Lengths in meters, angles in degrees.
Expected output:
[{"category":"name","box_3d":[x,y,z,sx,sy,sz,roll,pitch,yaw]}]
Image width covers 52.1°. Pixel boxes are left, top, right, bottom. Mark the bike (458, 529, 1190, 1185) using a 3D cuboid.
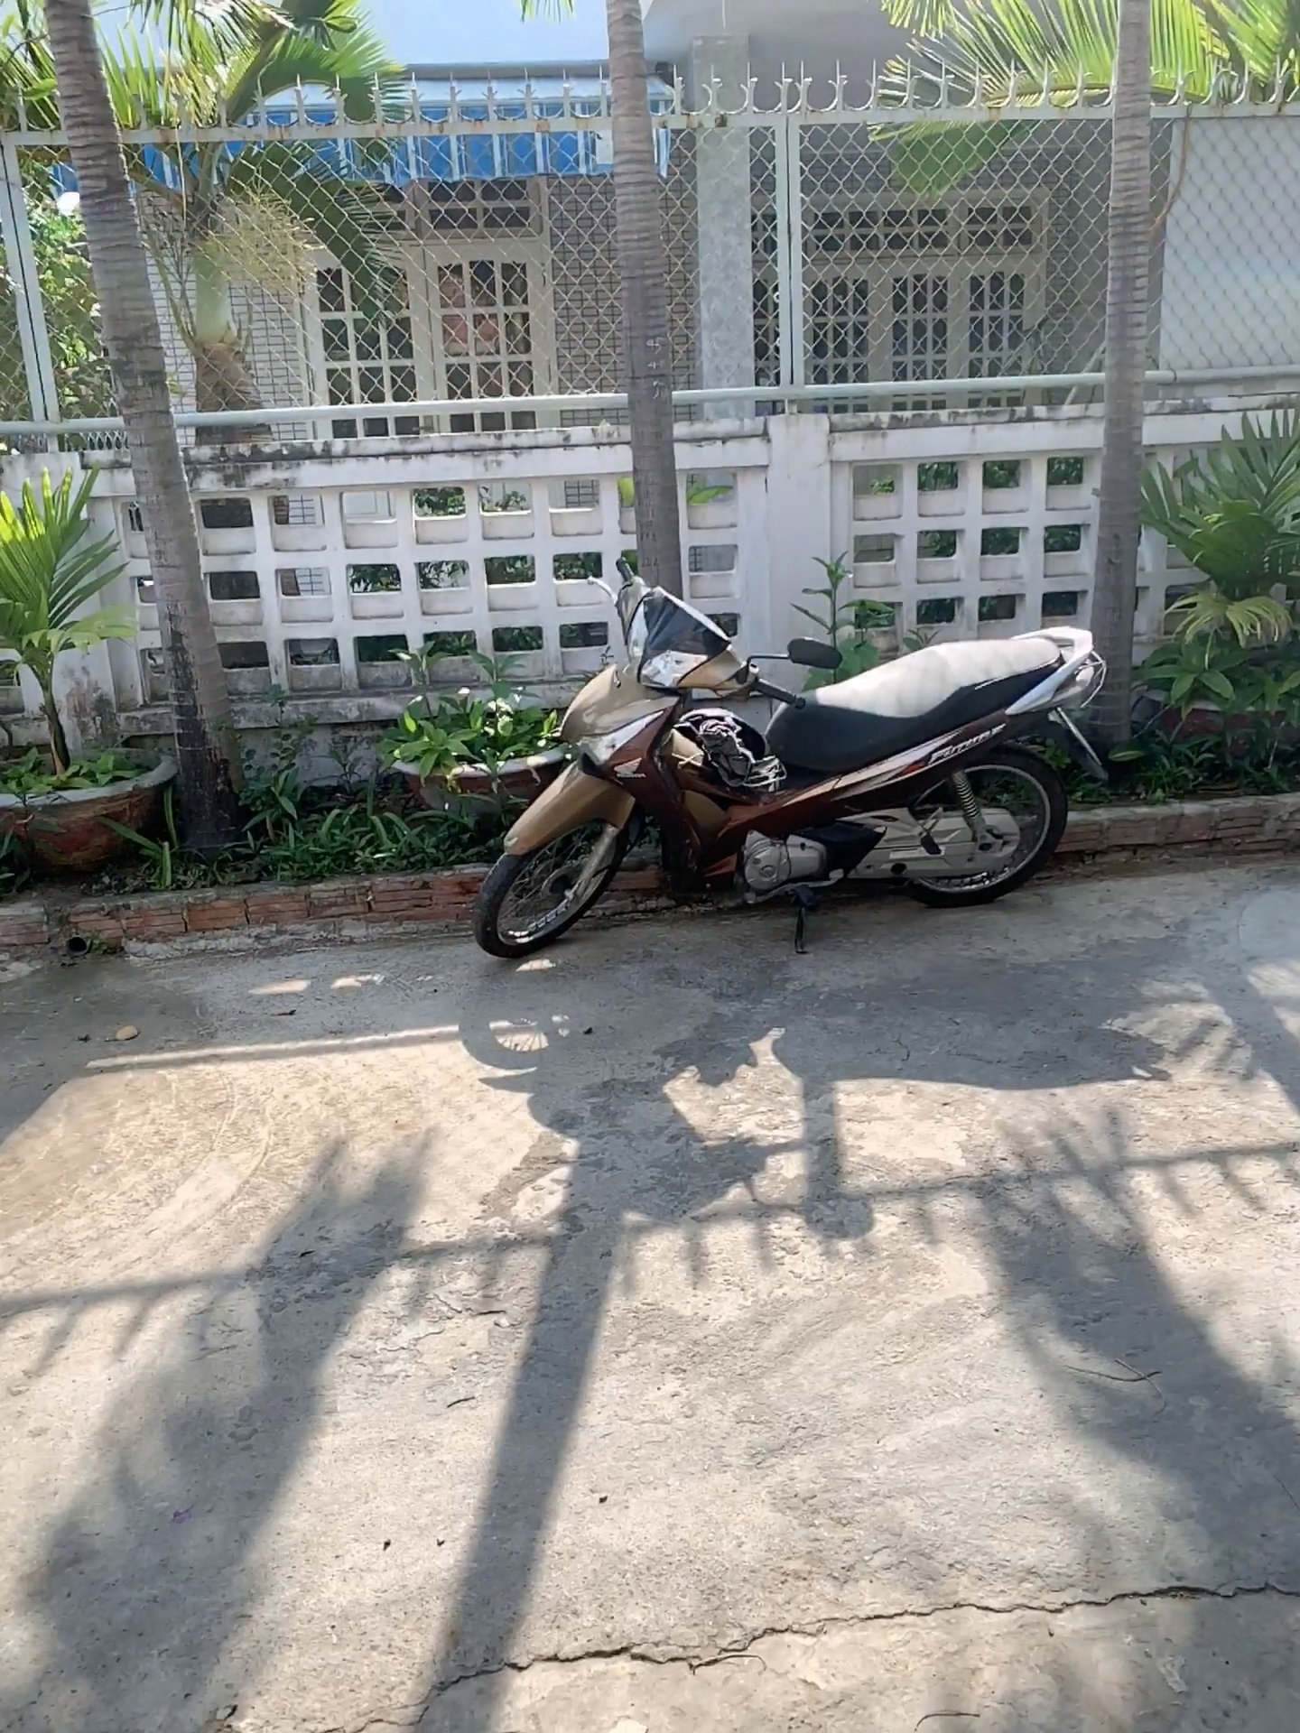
[{"category":"bike","box_3d":[0.506,-0.129,3.762,1.975,1.442,0.614,-9,18,-18]}]
